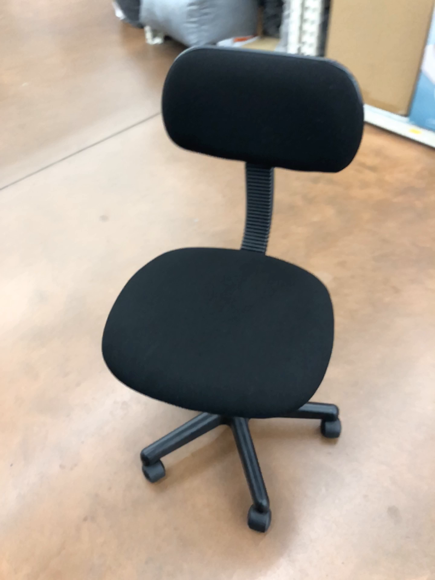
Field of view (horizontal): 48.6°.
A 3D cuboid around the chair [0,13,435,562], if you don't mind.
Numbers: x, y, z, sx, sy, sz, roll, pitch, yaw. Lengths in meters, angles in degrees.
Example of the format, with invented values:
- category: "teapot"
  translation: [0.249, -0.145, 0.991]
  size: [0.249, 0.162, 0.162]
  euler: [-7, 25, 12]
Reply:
- category: "chair"
  translation: [0.037, -0.012, 1.006]
  size: [0.670, 0.797, 0.662]
  euler: [12, 48, 15]
